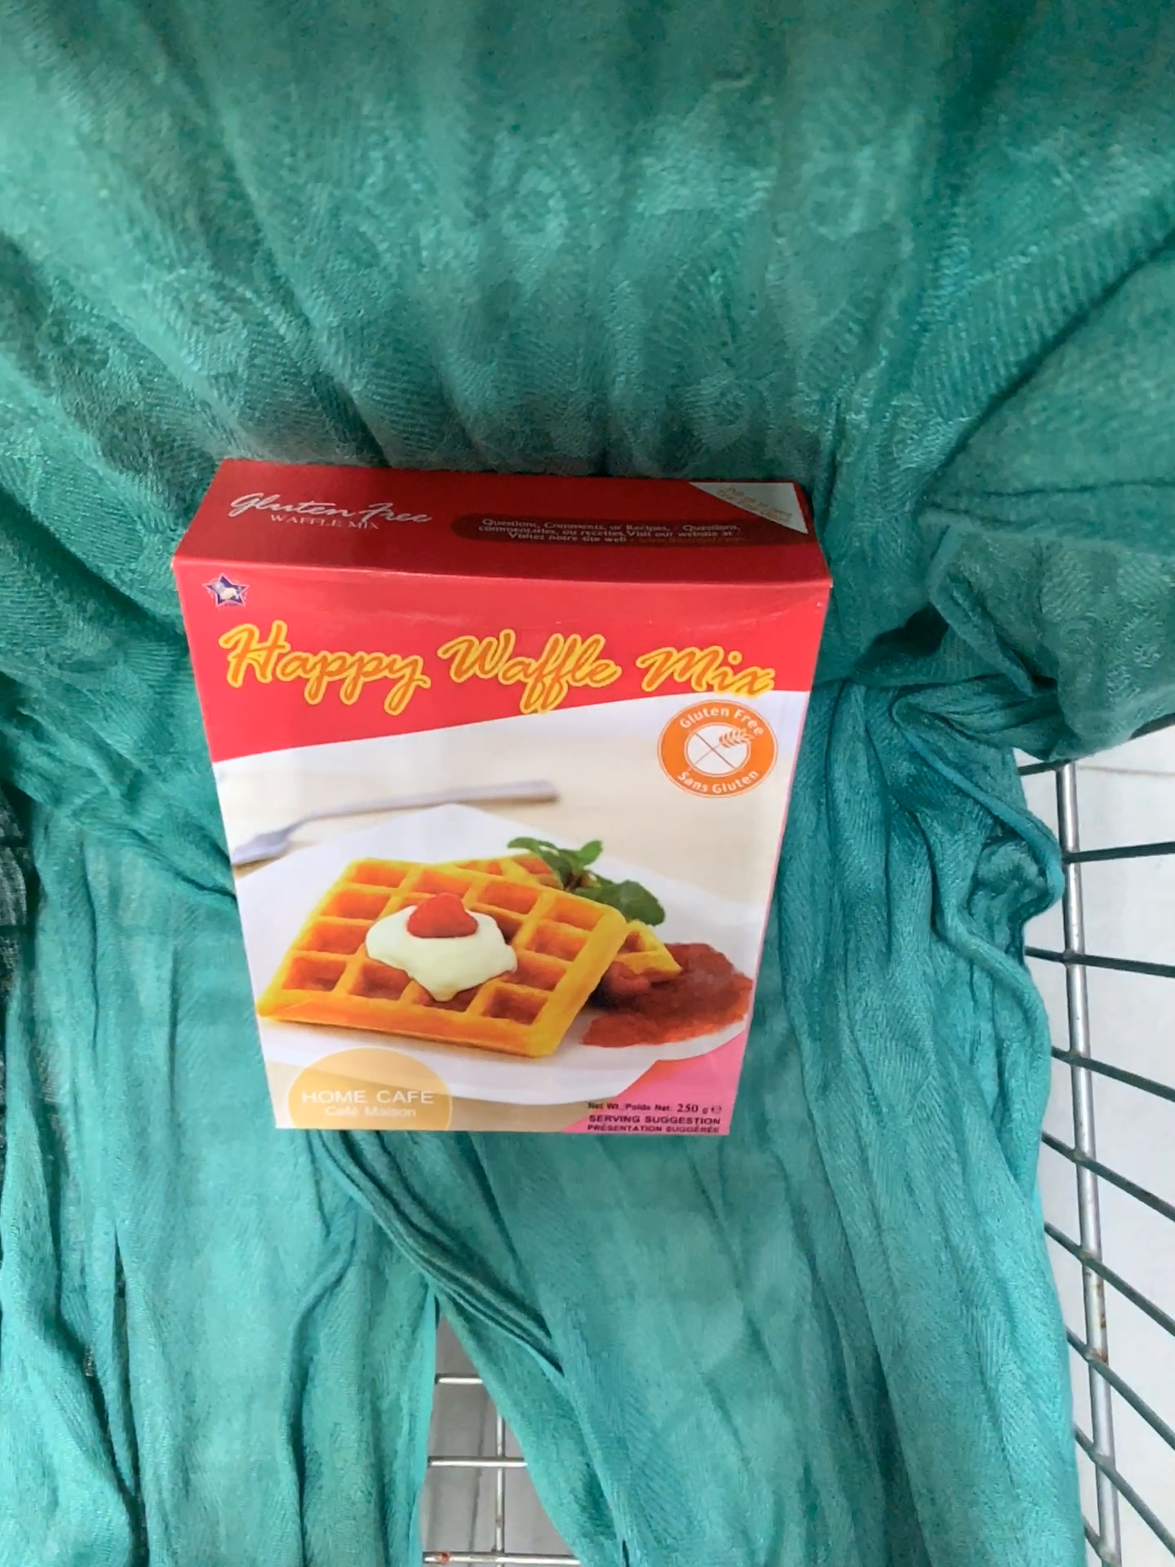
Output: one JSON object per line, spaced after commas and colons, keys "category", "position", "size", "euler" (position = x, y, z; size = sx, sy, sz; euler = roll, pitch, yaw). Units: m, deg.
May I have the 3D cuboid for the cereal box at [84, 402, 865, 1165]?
{"category": "cereal box", "position": [-0.022, 0.012, 0.279], "size": [0.130, 0.180, 0.050], "euler": [2, 40, -1]}
